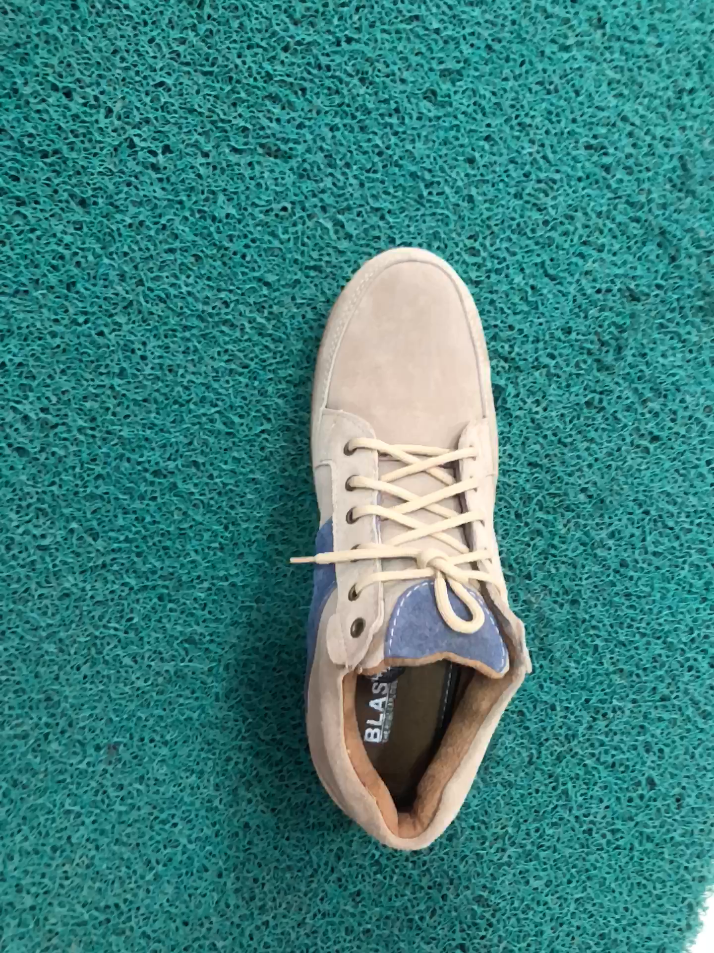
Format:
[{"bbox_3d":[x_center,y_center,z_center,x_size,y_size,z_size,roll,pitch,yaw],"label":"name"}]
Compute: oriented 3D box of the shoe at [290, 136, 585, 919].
[{"bbox_3d":[0.031,0.023,0.390,0.100,0.120,0.320,4,89,-9],"label":"shoe"}]
